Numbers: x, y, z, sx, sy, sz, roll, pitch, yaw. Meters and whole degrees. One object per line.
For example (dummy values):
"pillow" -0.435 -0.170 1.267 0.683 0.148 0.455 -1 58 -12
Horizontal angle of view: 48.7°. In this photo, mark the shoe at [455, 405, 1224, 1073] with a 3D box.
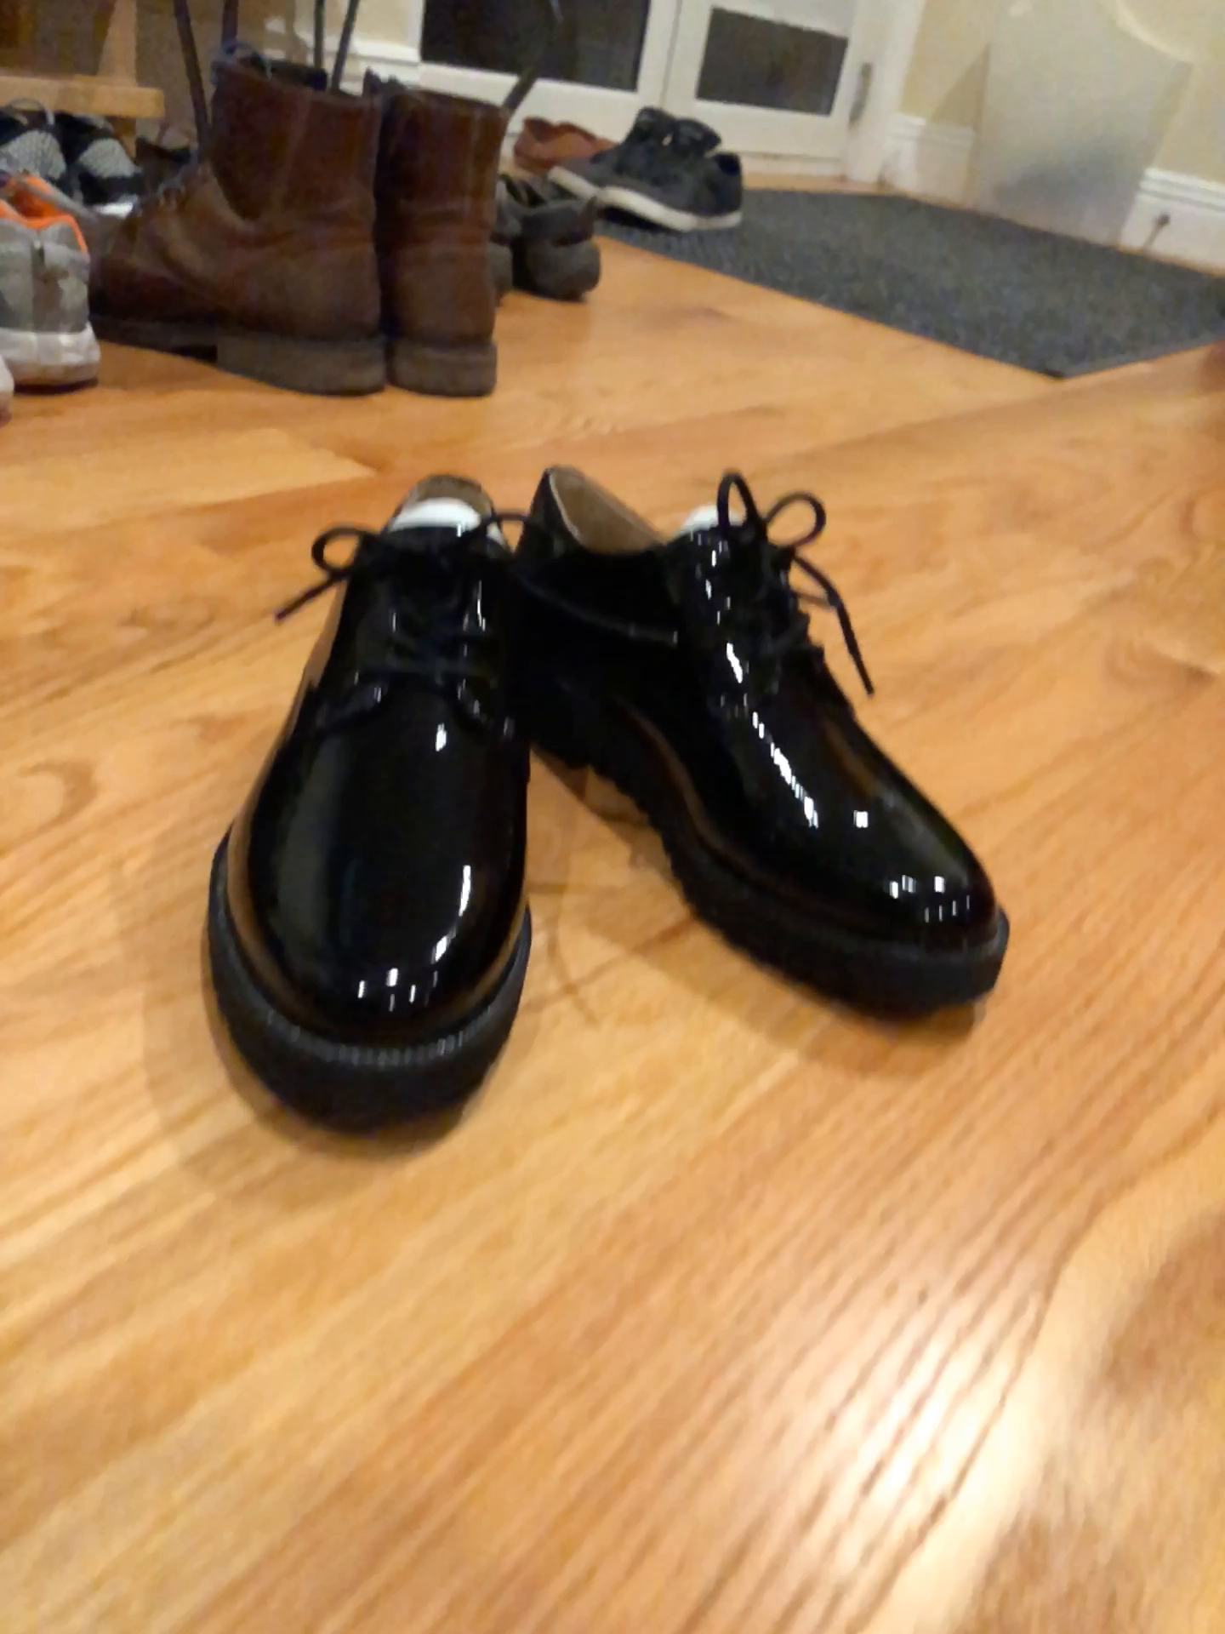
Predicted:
"shoe" 0.051 -0.046 0.450 0.095 0.101 0.252 -10 37 -32

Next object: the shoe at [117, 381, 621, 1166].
"shoe" -0.054 -0.035 0.389 0.095 0.101 0.253 9 31 -5
